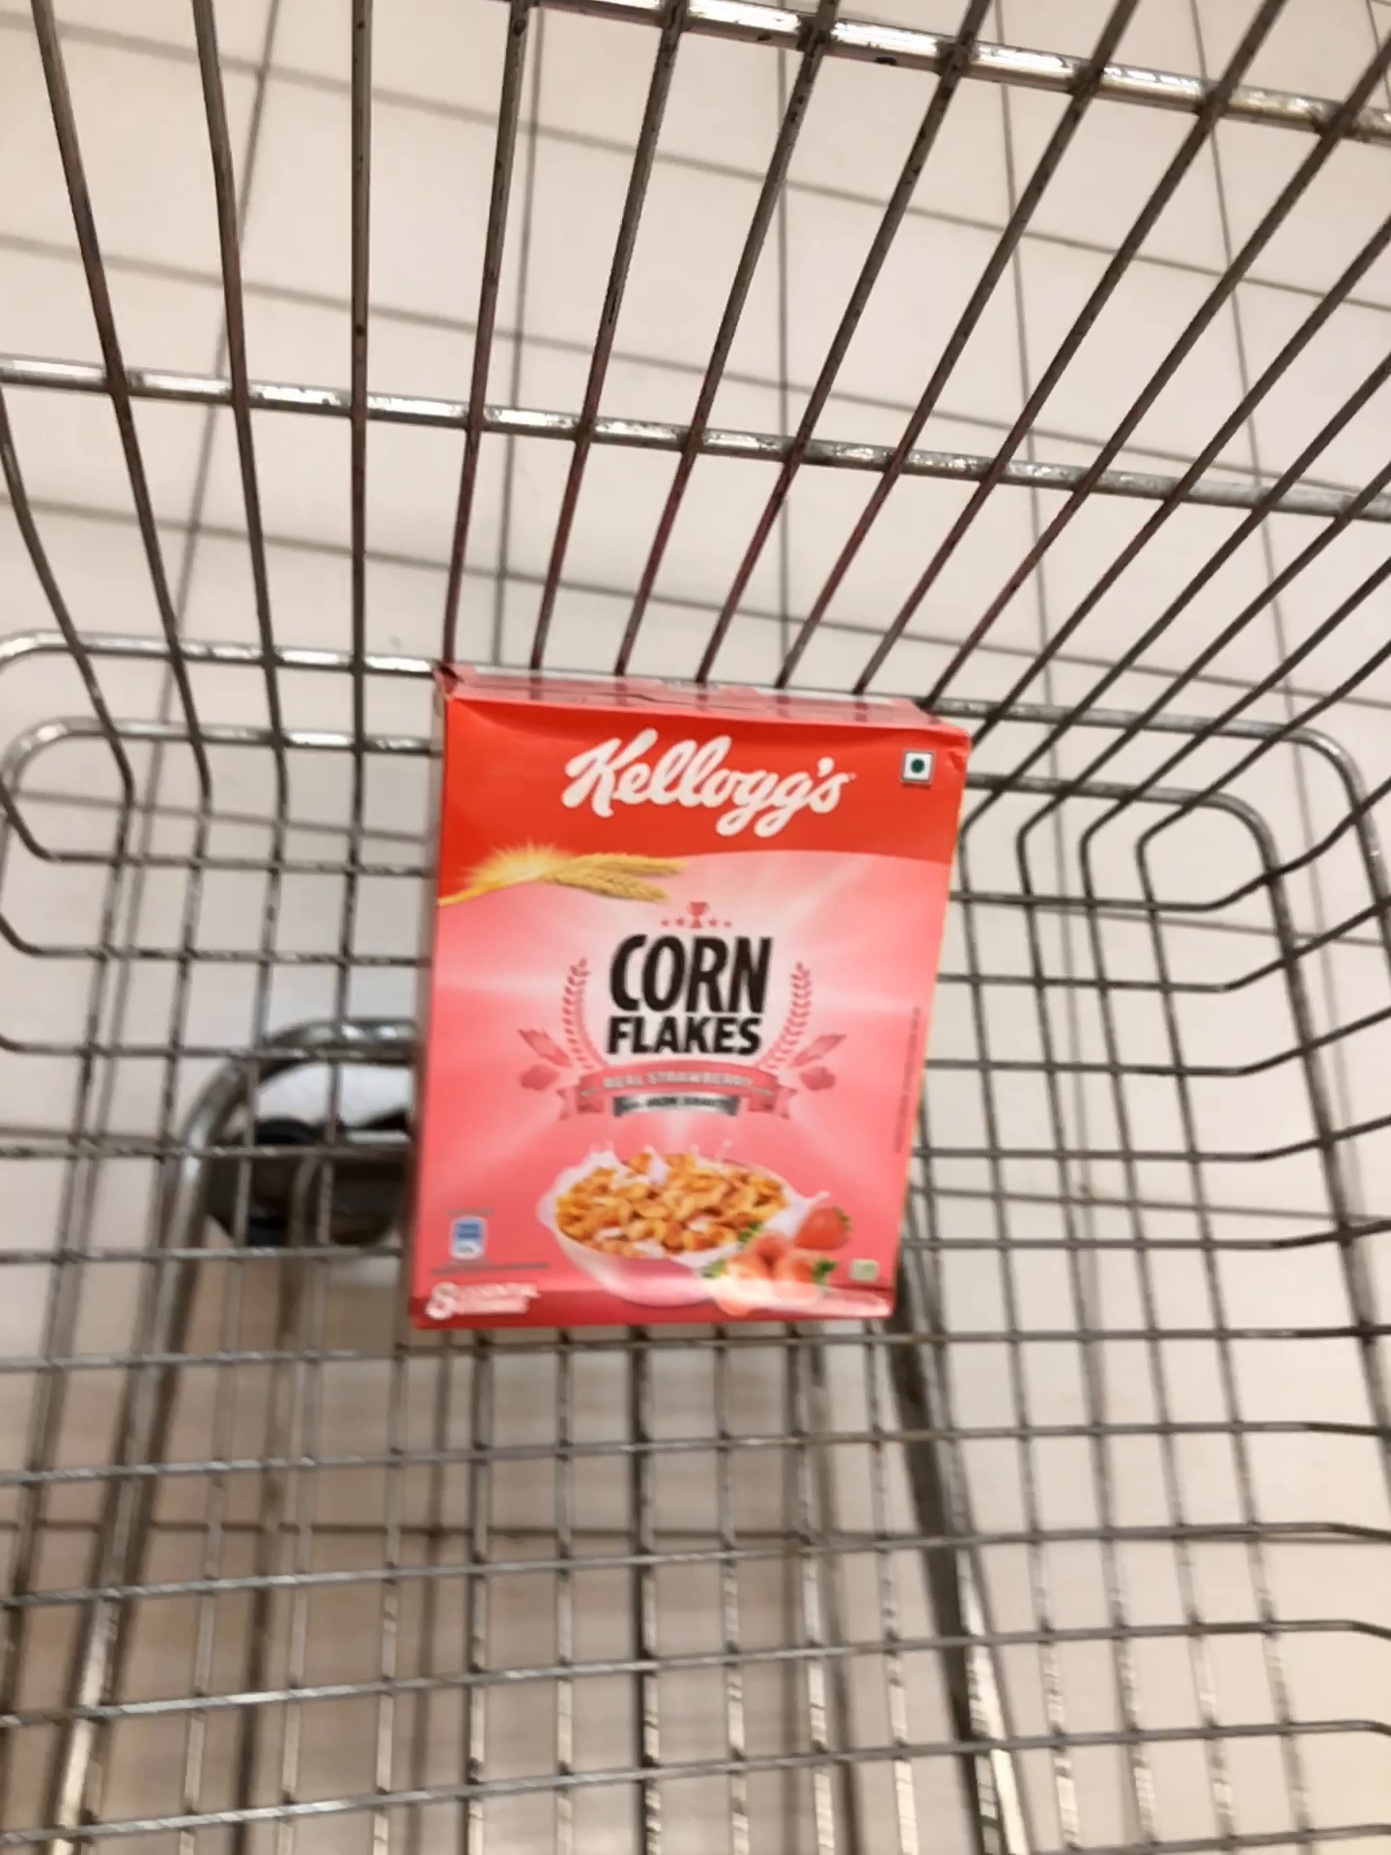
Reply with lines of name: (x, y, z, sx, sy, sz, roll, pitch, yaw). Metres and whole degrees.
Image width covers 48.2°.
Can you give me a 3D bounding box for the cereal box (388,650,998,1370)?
cereal box: (-0.006, 0.024, 0.420, 0.140, 0.050, 0.180, 2, 106, -14)
